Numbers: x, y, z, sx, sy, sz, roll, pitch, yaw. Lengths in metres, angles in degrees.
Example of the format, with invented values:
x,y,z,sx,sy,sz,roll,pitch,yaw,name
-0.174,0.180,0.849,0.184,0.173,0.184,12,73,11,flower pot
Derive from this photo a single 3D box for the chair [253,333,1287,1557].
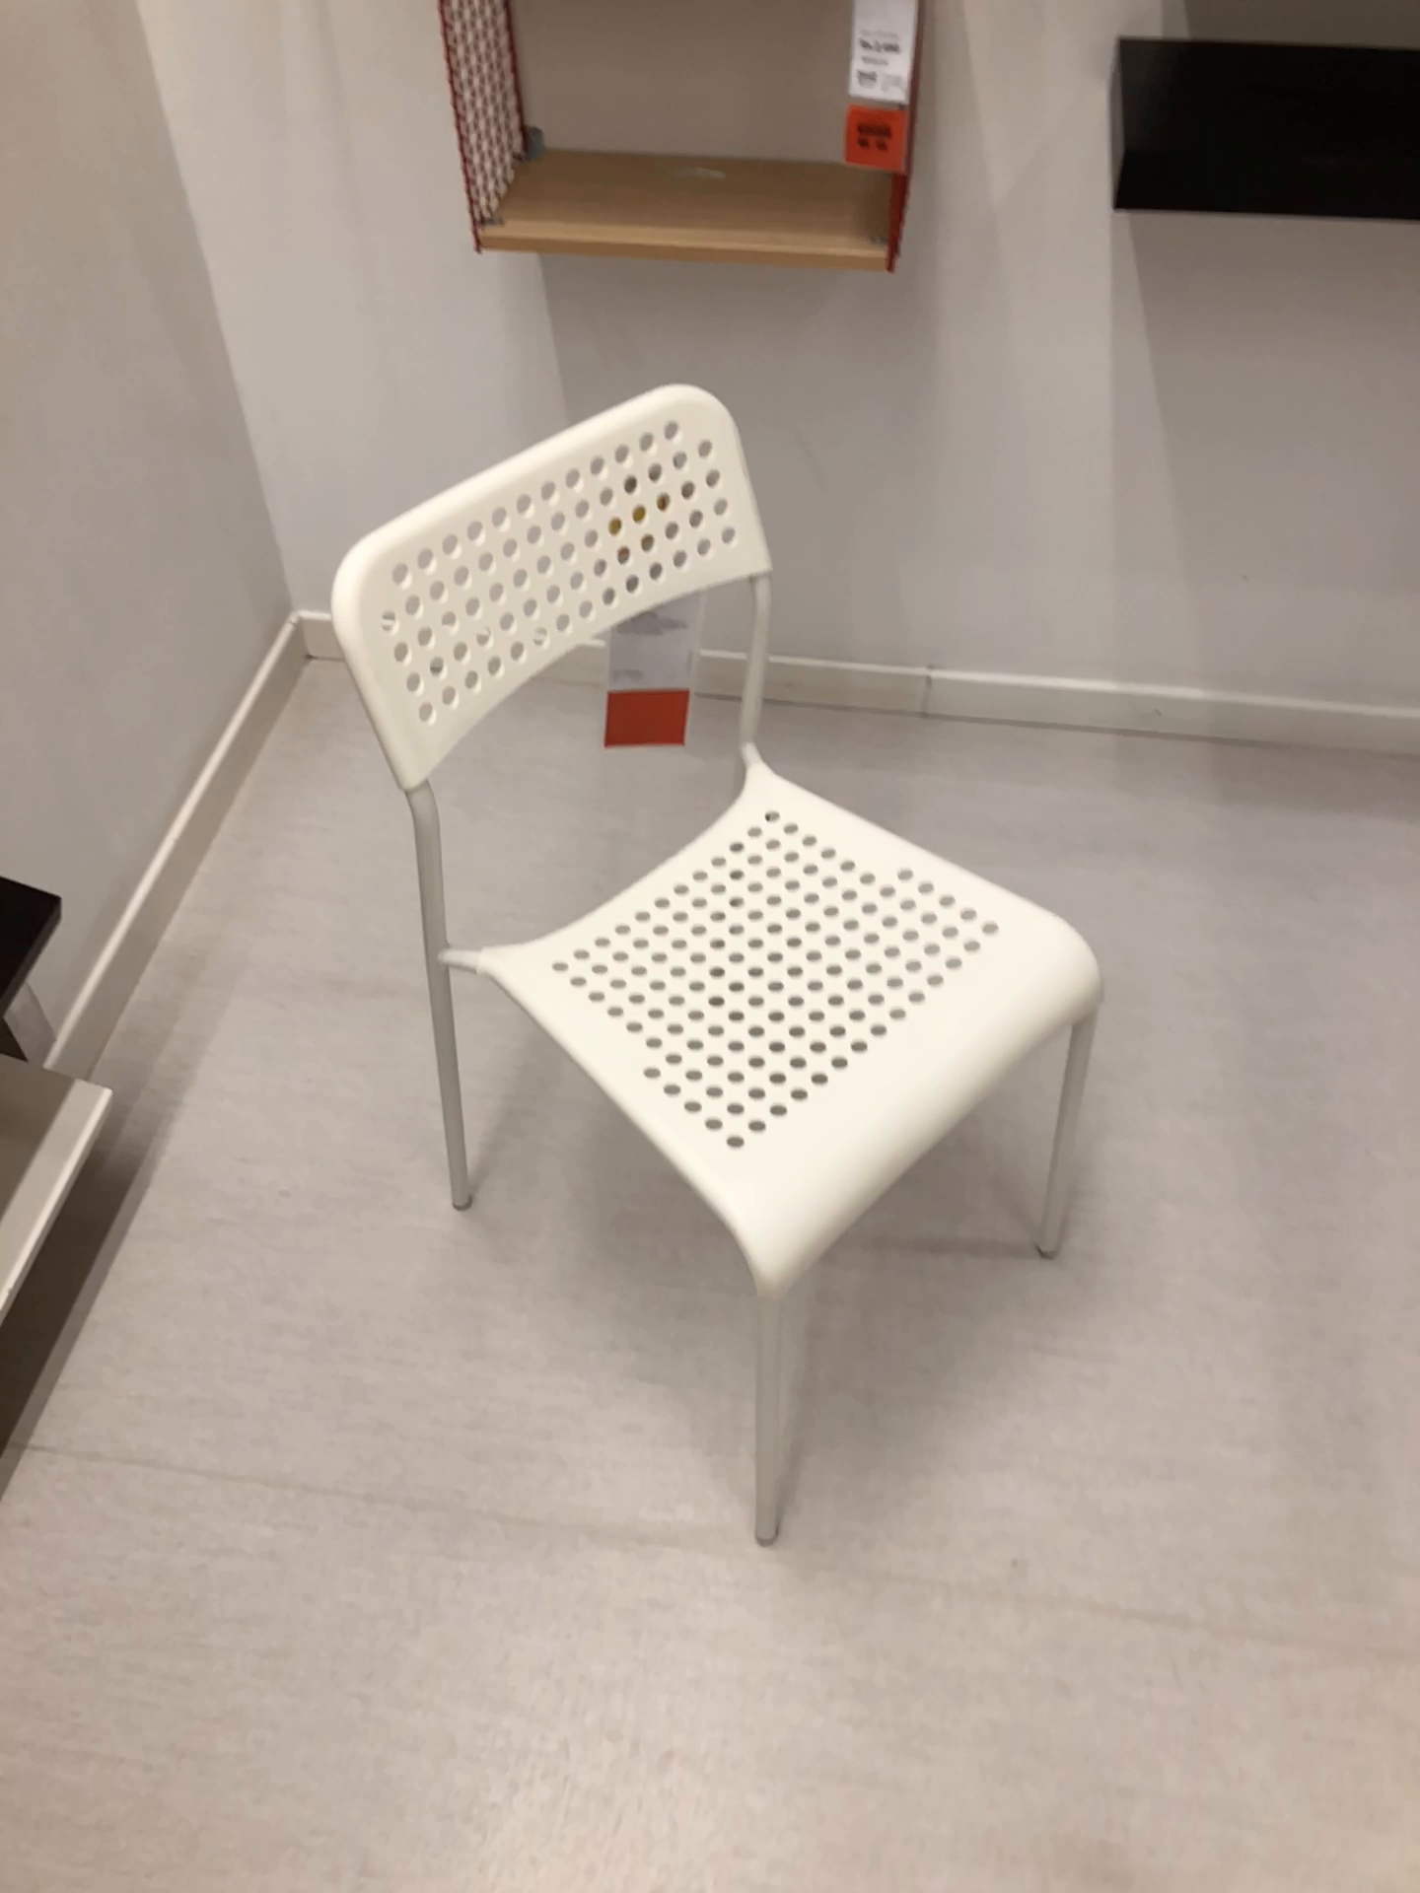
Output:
x,y,z,sx,sy,sz,roll,pitch,yaw,name
0.036,0.024,1.221,0.421,0.735,0.471,-36,57,-27,chair
